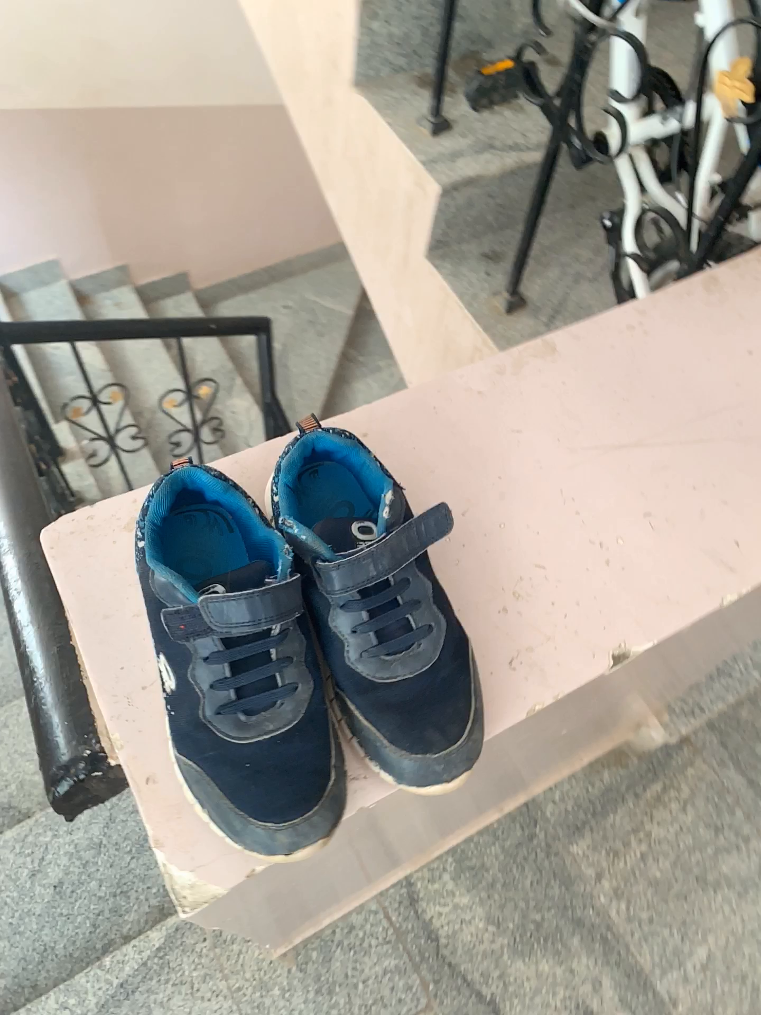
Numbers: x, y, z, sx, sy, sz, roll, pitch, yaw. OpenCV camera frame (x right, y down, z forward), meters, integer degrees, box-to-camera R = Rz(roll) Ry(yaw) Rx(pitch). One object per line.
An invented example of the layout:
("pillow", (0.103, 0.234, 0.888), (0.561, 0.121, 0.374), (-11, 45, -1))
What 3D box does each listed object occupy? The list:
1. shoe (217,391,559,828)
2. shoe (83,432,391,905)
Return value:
("shoe", (-0.006, 0.052, 0.458), (0.100, 0.080, 0.221), (-21, 63, -16))
("shoe", (-0.082, 0.079, 0.424), (0.090, 0.080, 0.221), (-18, 62, -15))
